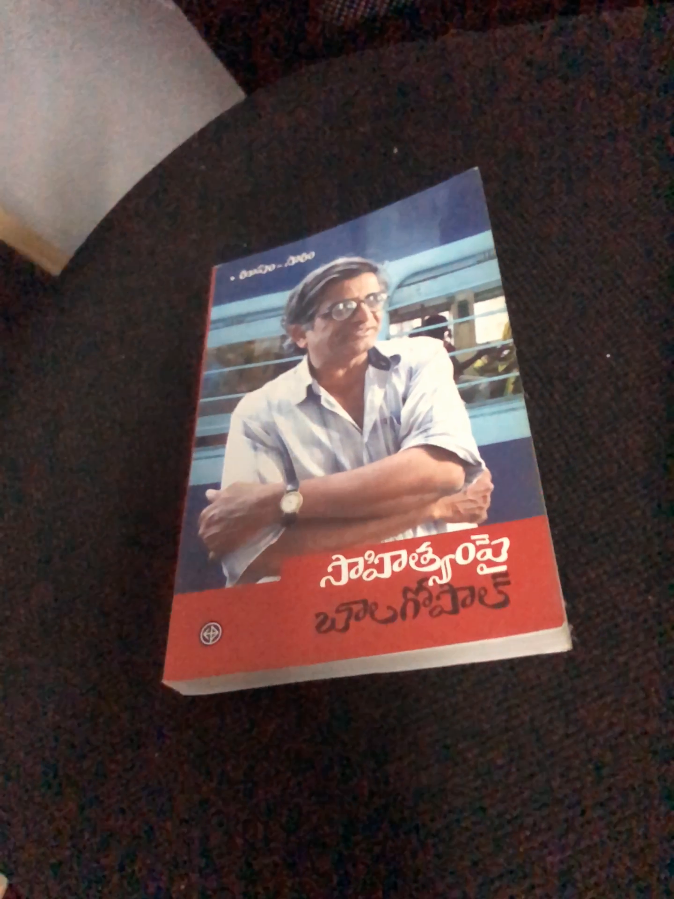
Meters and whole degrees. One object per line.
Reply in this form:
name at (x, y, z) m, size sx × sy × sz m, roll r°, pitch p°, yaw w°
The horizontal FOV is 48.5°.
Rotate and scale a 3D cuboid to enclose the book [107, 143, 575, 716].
book at (-0.003, -0.019, 0.305) m, size 0.152 × 0.030 × 0.225 m, roll -12°, pitch 55°, yaw 17°
